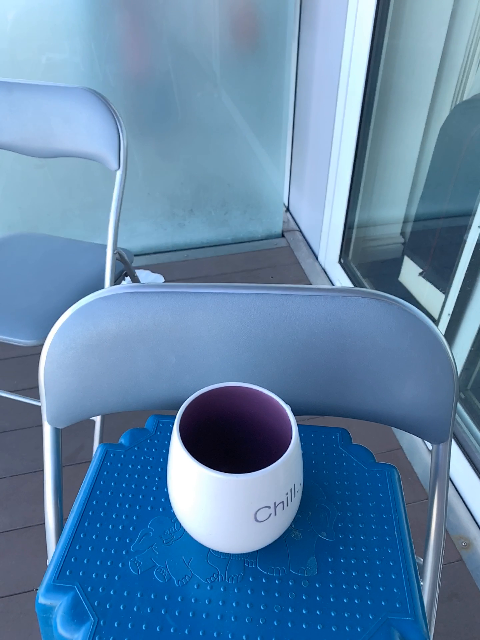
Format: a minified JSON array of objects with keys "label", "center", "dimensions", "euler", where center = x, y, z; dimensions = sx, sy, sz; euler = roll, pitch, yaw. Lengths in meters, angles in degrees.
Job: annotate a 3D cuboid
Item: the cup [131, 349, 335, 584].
[{"label":"cup","center":[-0.003,0.107,0.387],"dimensions":[0.105,0.090,0.111],"euler":[1,37,-1]}]
